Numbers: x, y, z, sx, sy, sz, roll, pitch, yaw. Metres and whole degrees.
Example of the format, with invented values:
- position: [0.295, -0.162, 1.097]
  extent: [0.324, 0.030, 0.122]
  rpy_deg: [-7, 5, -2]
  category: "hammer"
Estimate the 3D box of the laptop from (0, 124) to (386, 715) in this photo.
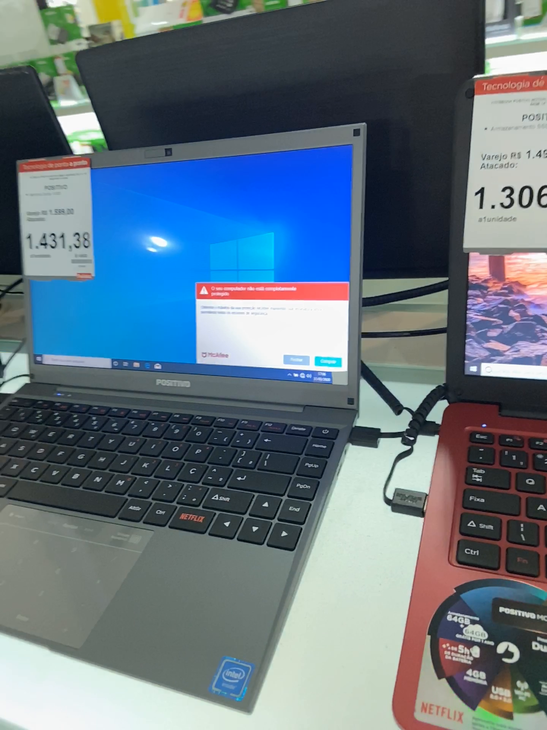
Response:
- position: [-0.123, -0.014, 0.396]
  extent: [0.330, 0.183, 0.321]
  rpy_deg: [3, 36, 22]
  category: "laptop"
